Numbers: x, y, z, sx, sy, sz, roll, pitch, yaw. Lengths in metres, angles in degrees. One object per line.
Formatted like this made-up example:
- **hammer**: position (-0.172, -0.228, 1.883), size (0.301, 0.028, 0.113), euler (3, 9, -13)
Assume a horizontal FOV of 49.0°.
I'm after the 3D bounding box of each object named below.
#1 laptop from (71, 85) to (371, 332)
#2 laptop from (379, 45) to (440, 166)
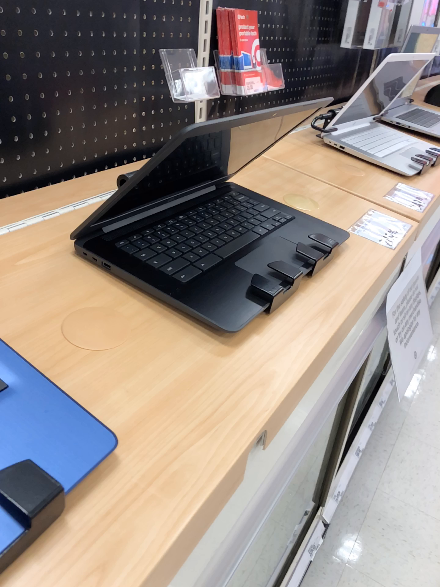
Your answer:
- **laptop**: position (0.022, -0.132, 0.570), size (0.200, 0.144, 0.320), euler (26, 35, 22)
- **laptop**: position (0.600, -0.617, 1.489), size (0.221, 0.133, 0.834), euler (16, 36, -7)
